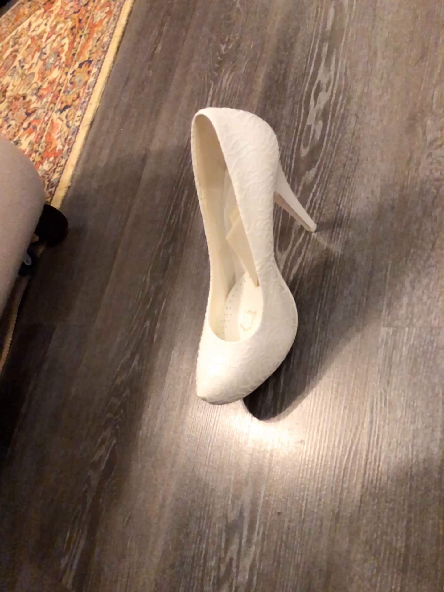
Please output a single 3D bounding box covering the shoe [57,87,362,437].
[{"bbox_3d":[0.000,-0.020,0.382,0.090,0.149,0.210,16,79,46],"label":"shoe"}]
